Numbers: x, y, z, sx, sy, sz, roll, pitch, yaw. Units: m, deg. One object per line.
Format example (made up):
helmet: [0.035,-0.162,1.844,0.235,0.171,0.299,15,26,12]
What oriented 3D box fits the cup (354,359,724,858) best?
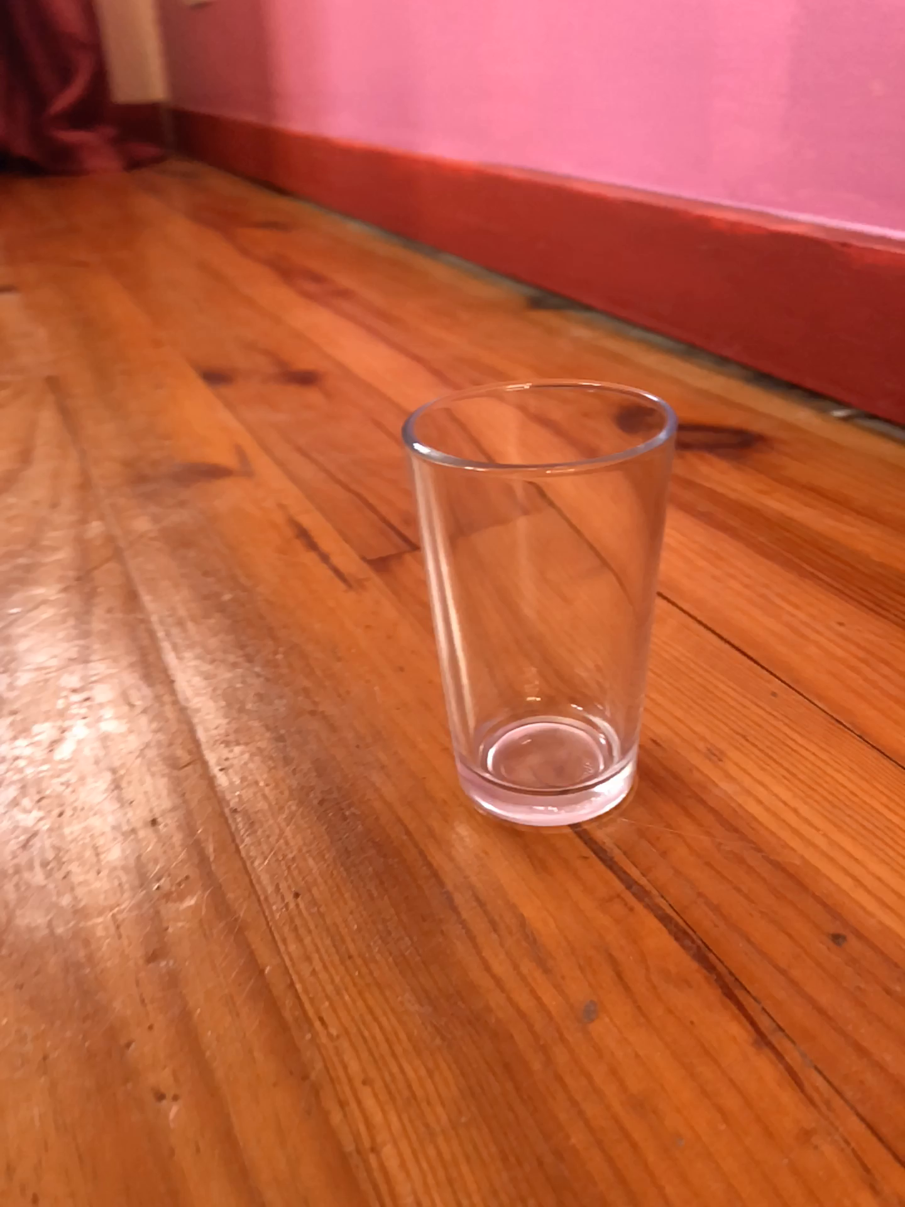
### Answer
cup: [0.020,-0.002,0.205,0.054,0.079,0.052,-2,27,1]
